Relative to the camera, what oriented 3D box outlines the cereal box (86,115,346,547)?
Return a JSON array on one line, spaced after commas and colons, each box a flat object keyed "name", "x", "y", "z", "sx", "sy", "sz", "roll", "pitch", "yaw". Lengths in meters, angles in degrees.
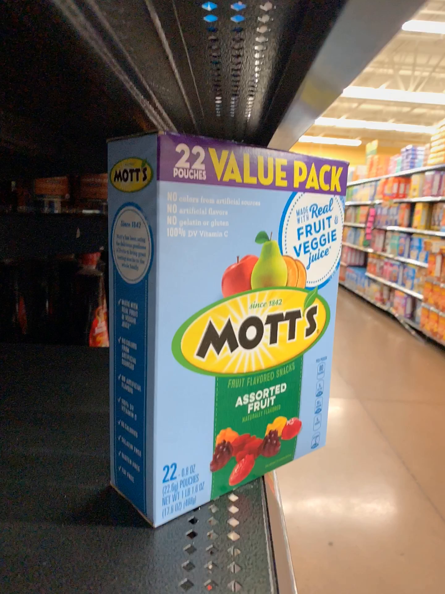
[{"name": "cereal box", "x": 0.001, "y": 0.015, "z": 0.329, "sx": 0.180, "sy": 0.239, "sz": 0.060, "roll": -6, "pitch": 13, "yaw": -41}]
